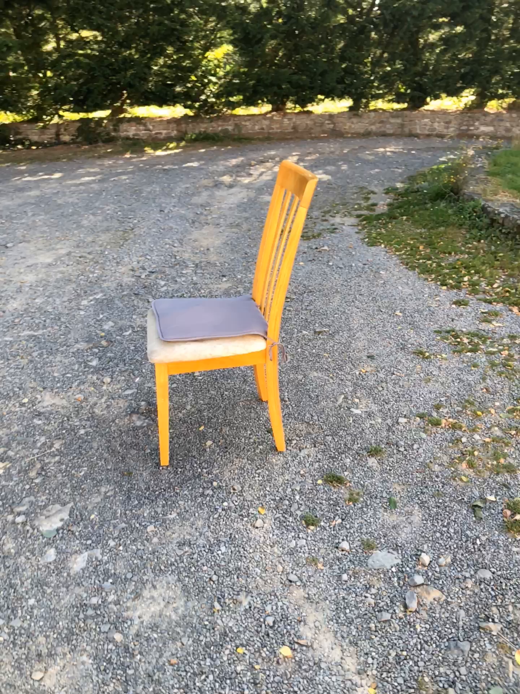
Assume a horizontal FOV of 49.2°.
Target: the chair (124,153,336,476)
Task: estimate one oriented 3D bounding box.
[{"bbox_3d":[-0.127,-0.131,2.059,0.611,0.994,0.512,-6,28,-11],"label":"chair"}]
